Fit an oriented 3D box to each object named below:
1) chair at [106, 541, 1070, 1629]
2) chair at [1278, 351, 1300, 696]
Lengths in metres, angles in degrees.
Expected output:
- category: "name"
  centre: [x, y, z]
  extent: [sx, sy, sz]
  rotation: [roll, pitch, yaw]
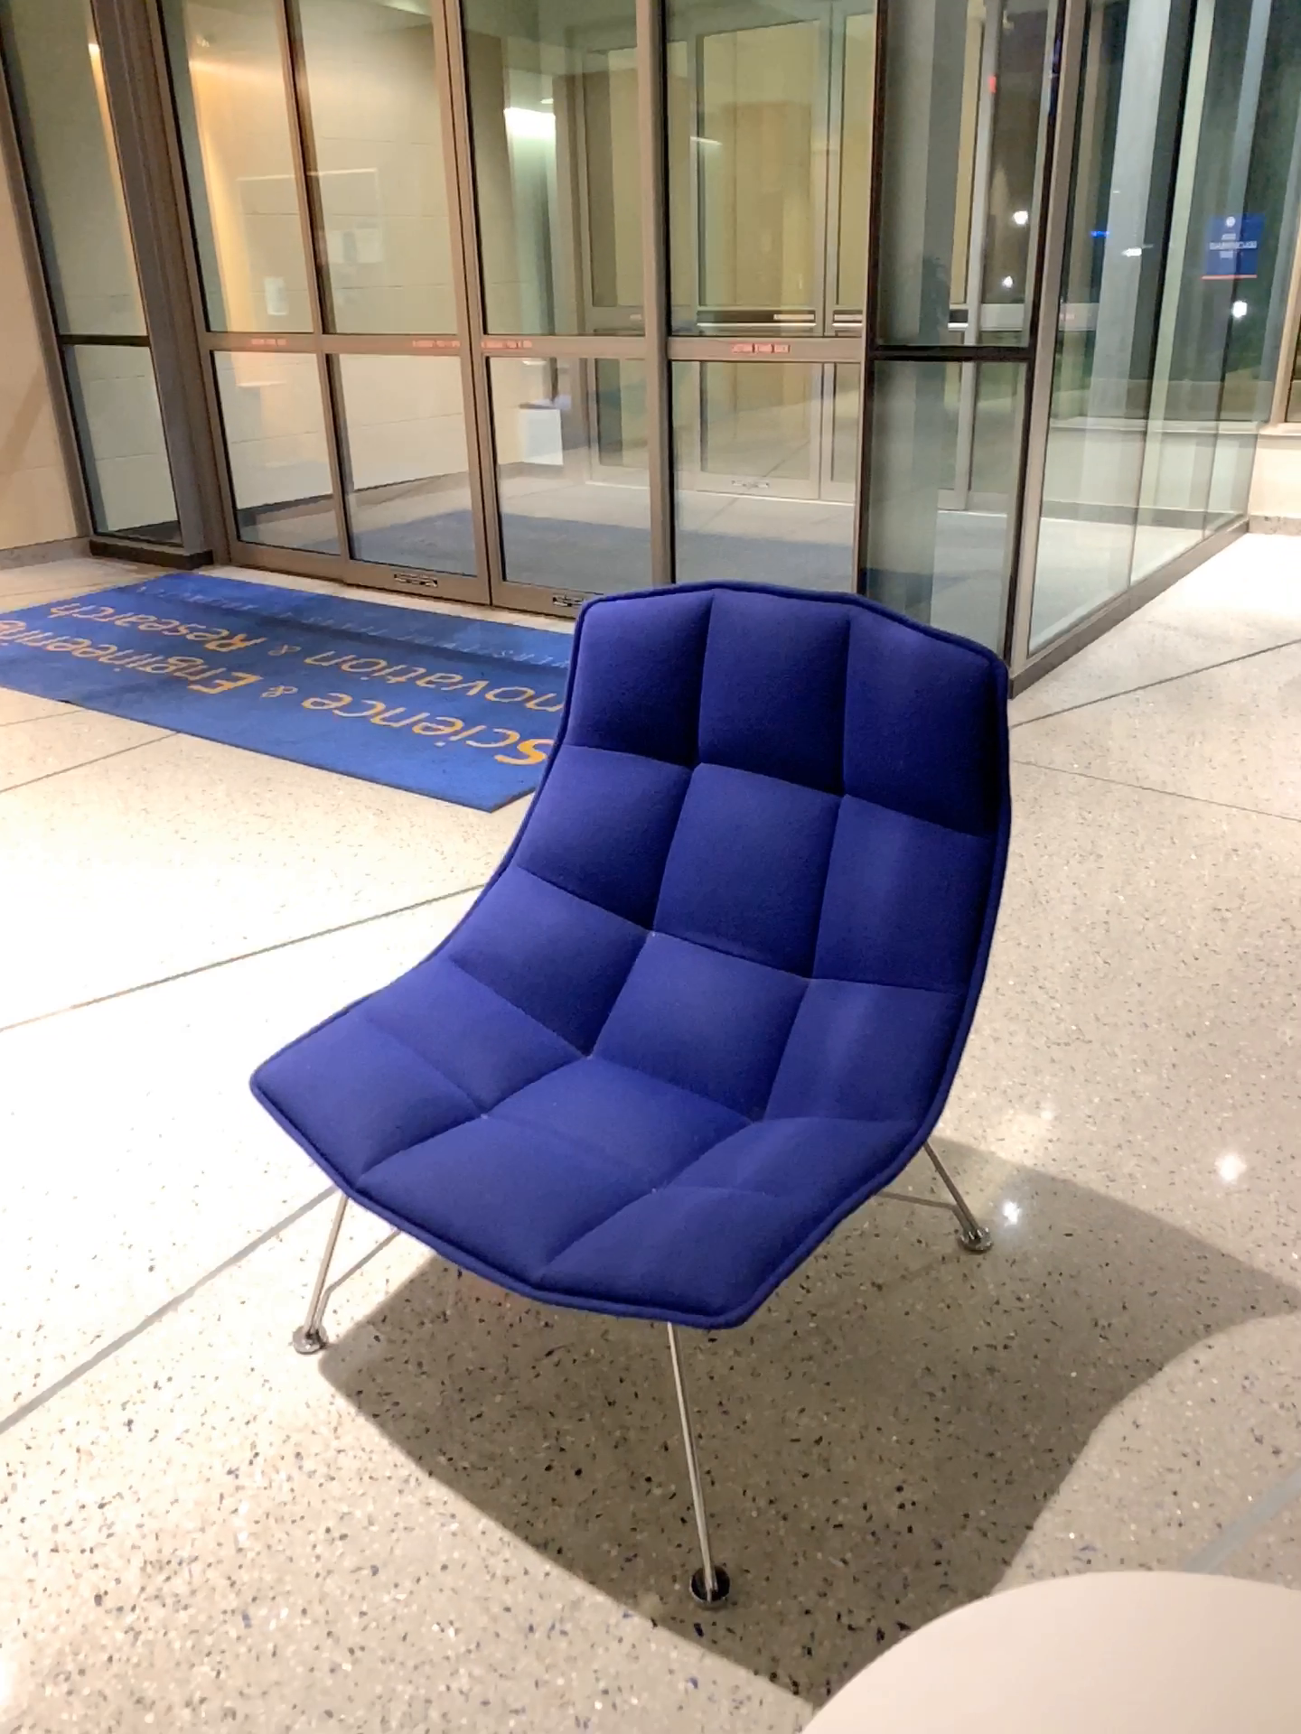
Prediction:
- category: "chair"
  centre: [-0.037, 0.151, 1.720]
  extent: [0.810, 0.933, 0.783]
  rotation: [15, 29, 33]
- category: "chair"
  centre: [2.632, -1.175, 4.362]
  extent: [0.772, 0.933, 0.804]
  rotation: [13, 28, 30]
